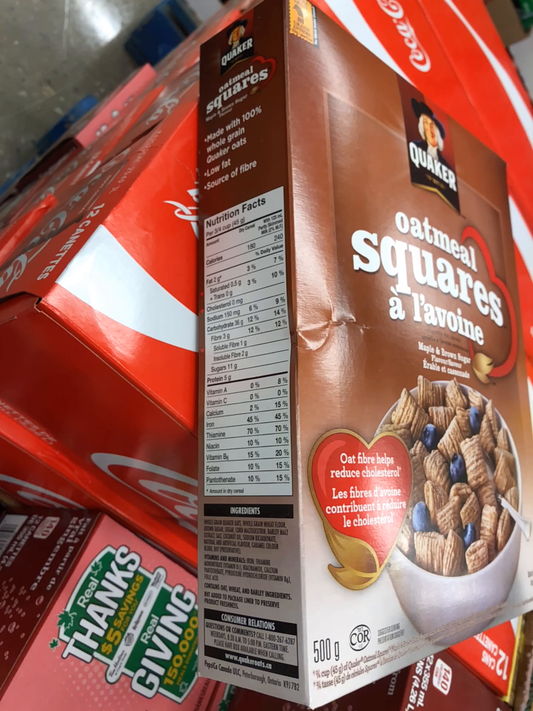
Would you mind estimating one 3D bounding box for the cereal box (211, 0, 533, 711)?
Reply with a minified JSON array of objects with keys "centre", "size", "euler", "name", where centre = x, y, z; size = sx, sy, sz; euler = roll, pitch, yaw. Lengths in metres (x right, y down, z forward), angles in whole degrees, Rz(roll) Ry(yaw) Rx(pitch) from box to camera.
[{"centre":[0.082,-0.008,0.290],"size":[0.241,0.050,0.290],"euler":[10,74,-45],"name":"cereal box"}]
